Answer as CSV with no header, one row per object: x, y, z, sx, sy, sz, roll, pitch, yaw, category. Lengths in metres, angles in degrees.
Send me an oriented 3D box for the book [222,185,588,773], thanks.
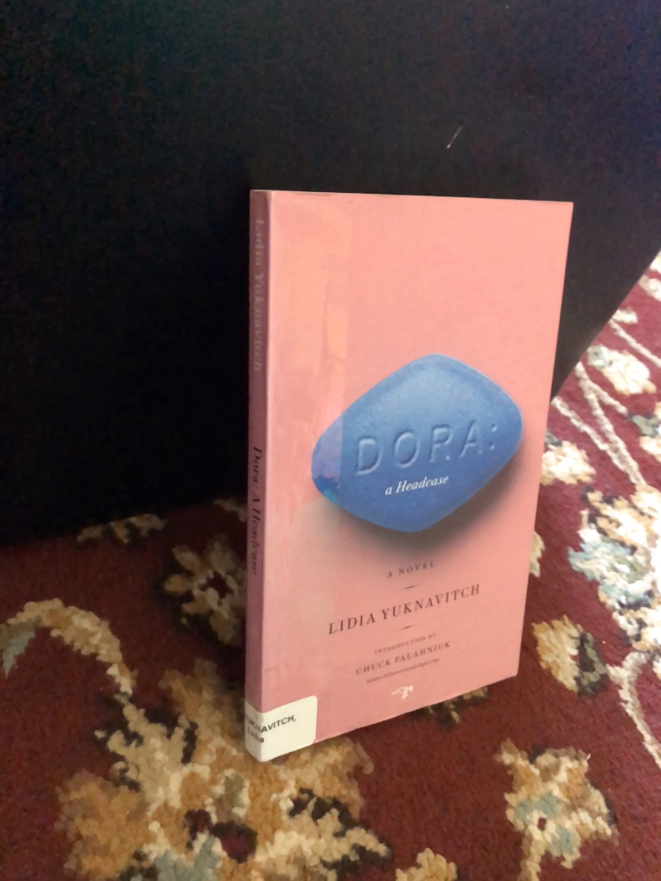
0.030,0.015,0.318,0.149,0.231,0.030,-8,20,-28,book
